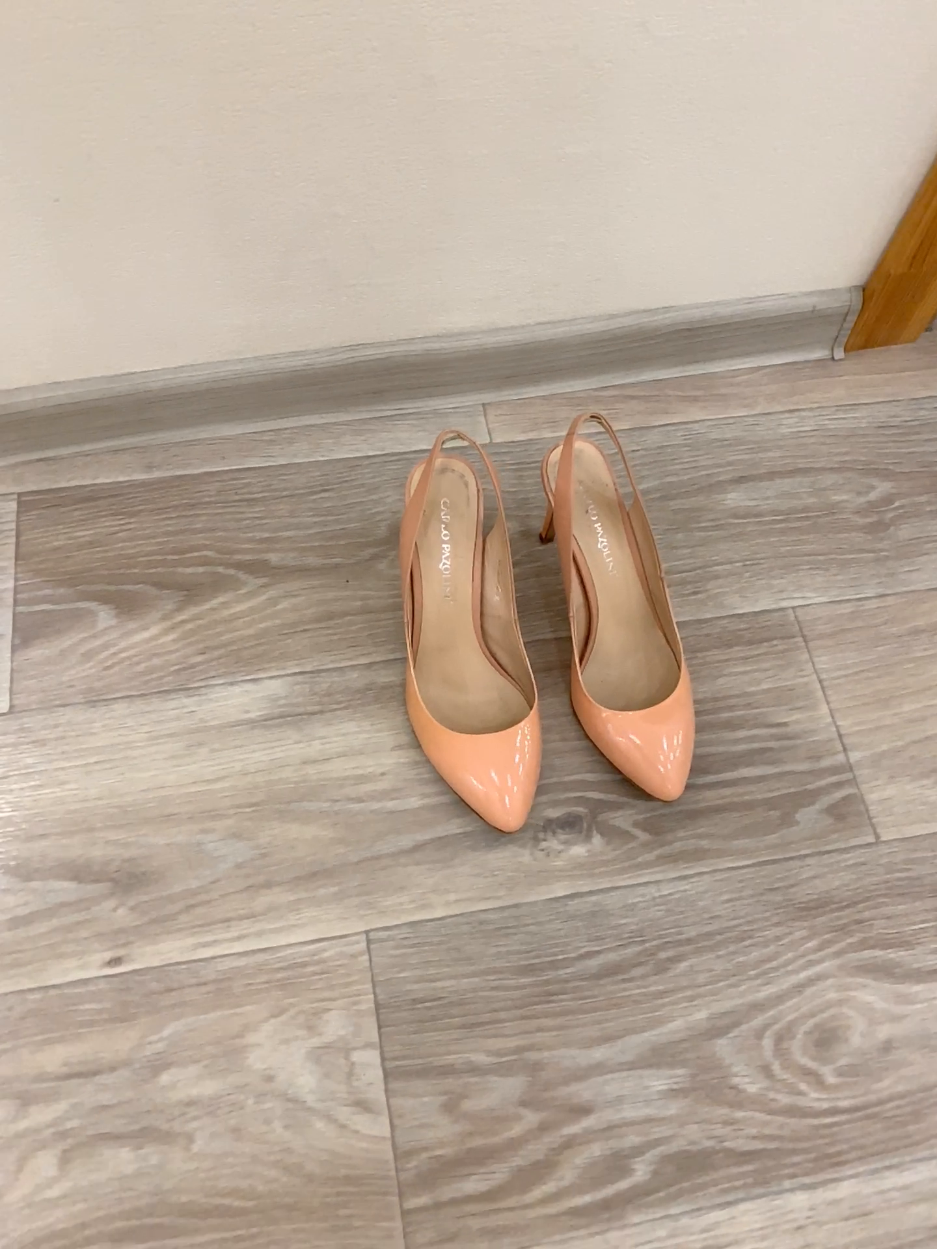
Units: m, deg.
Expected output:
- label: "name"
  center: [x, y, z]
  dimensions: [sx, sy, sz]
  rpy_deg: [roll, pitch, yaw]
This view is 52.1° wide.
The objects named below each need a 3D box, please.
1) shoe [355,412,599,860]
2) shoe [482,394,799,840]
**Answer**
- label: "shoe"
  center: [-0.005, 0.006, 0.598]
  dimensions: [0.090, 0.120, 0.241]
  rpy_deg: [-9, 64, -9]
- label: "shoe"
  center: [0.093, -0.006, 0.606]
  dimensions: [0.090, 0.120, 0.241]
  rpy_deg: [-15, 65, -11]
